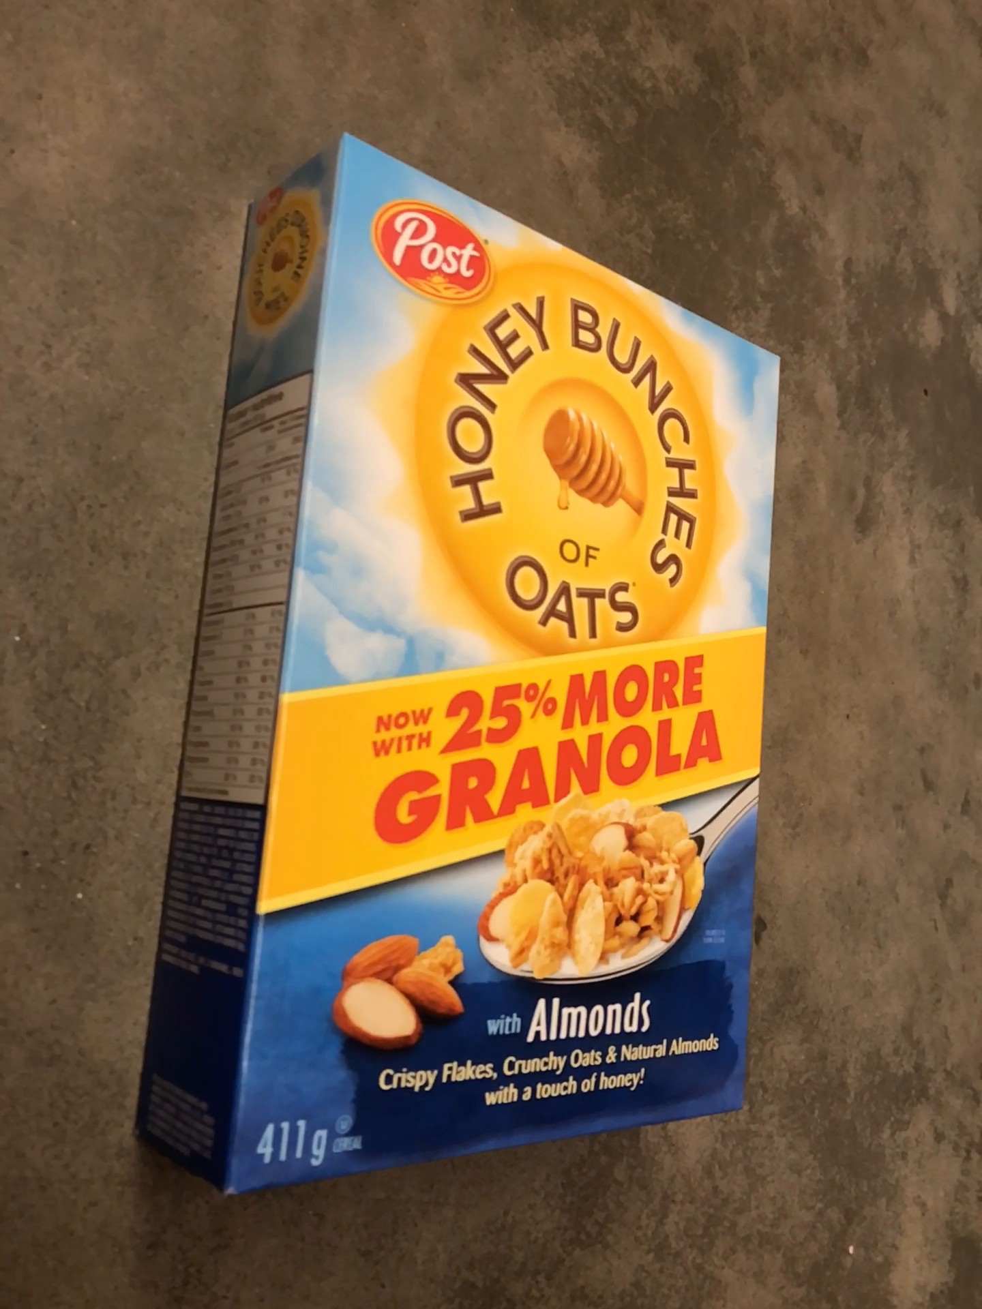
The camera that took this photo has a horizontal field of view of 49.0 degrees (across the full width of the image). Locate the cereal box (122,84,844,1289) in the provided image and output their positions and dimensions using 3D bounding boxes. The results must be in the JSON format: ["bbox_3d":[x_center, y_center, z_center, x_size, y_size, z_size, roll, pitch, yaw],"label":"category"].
[{"bbox_3d":[0.016,0.013,0.325,0.201,0.060,0.270,10,82,-38],"label":"cereal box"}]
